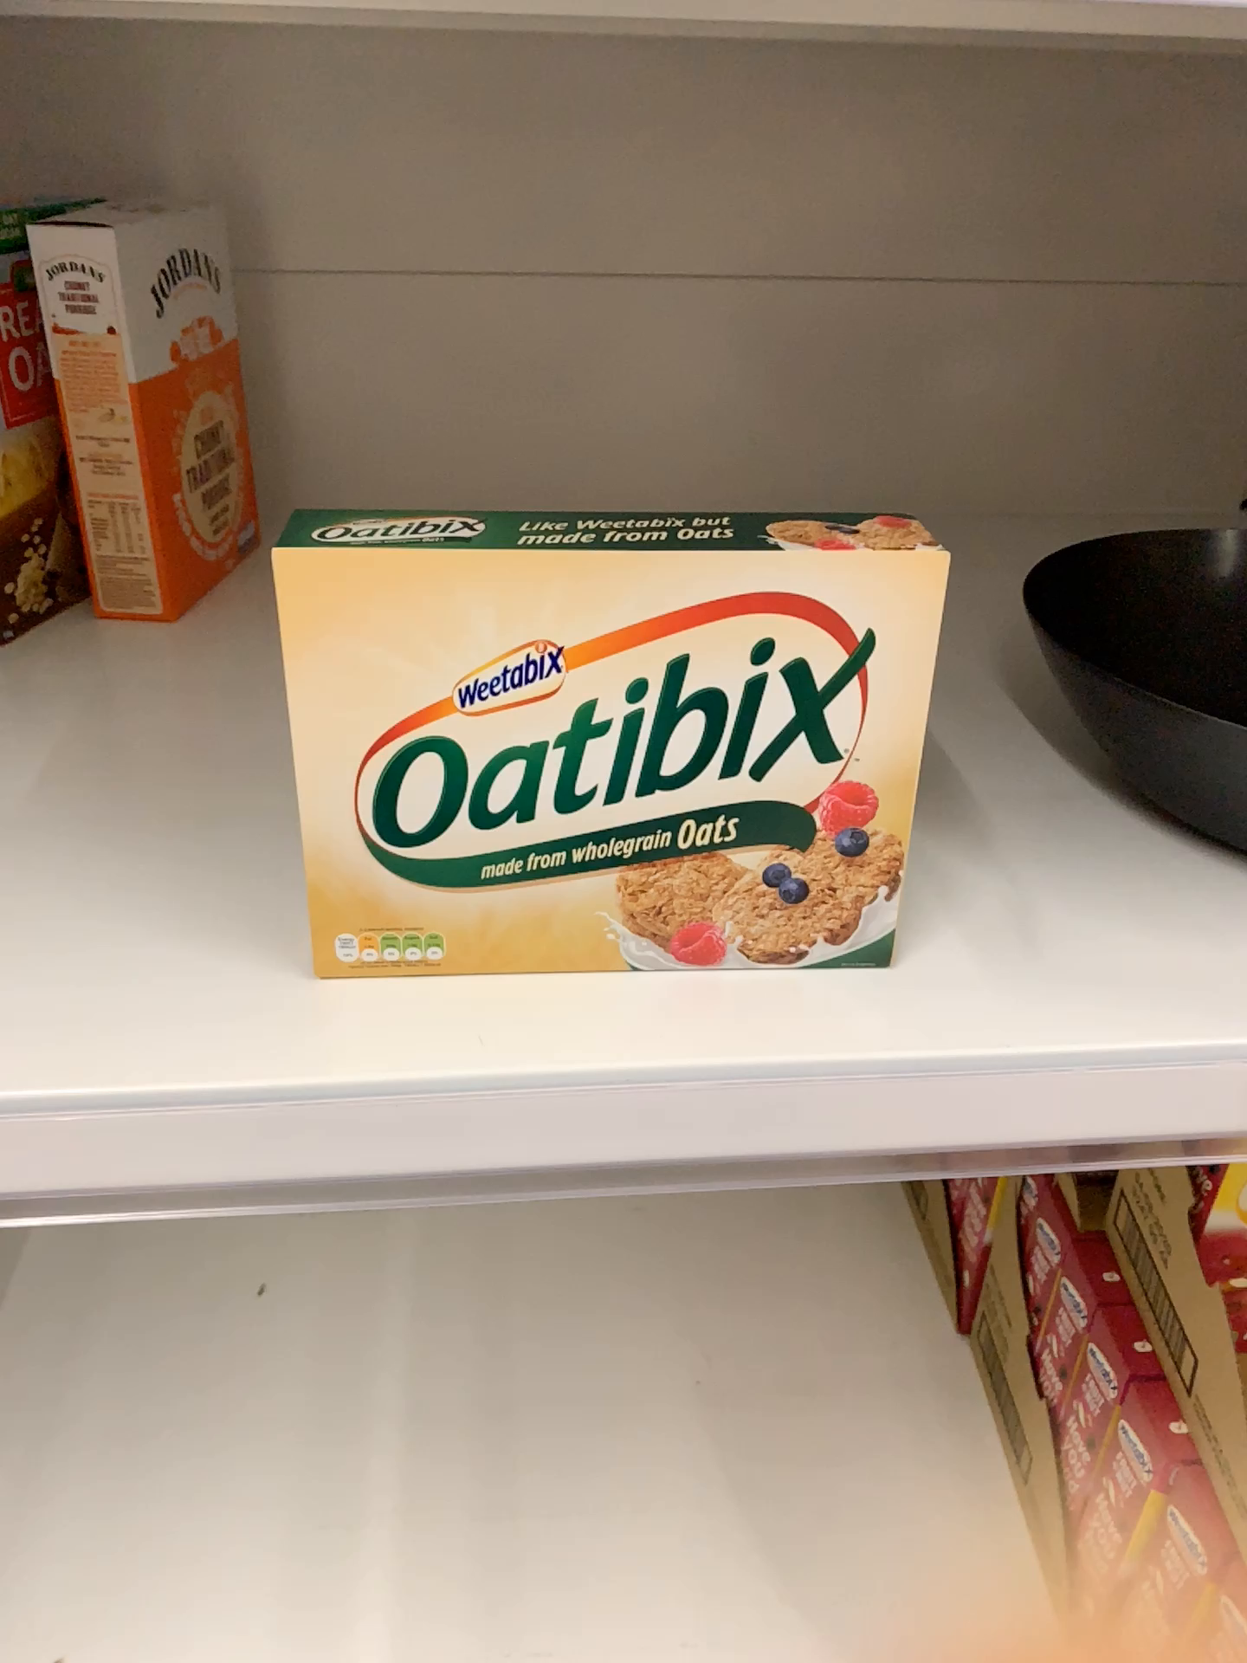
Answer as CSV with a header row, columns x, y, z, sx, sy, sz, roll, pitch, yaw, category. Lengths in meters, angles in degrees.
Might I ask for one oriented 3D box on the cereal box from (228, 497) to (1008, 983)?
x,y,z,sx,sy,sz,roll,pitch,yaw,category
-0.004,-0.035,0.517,0.270,0.178,0.071,-1,30,-4,cereal box
